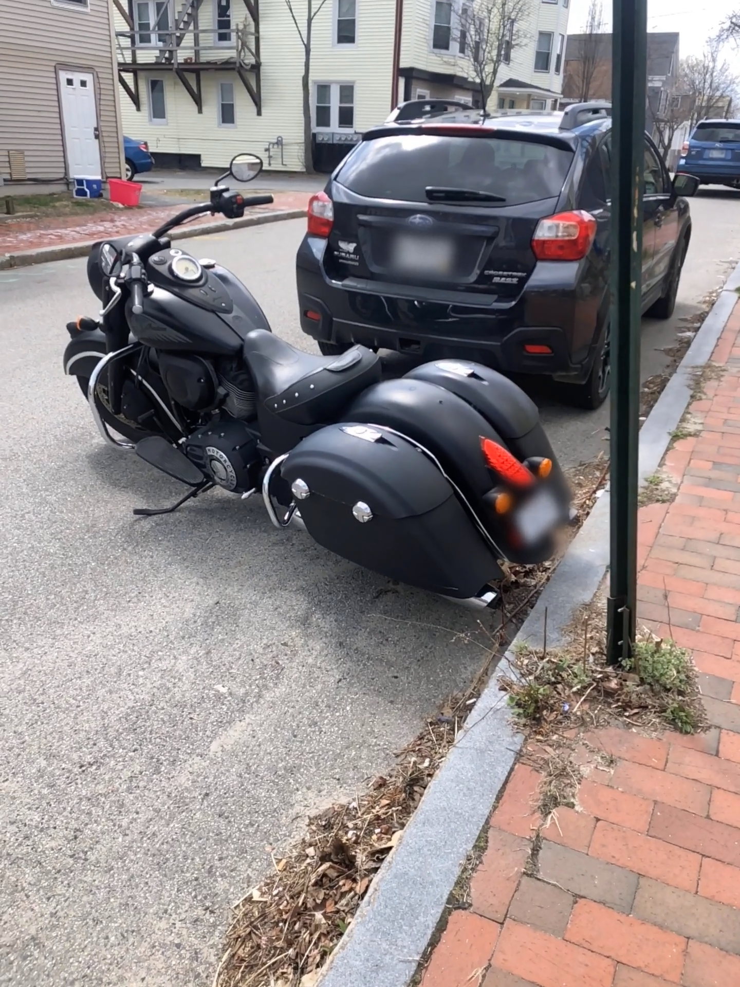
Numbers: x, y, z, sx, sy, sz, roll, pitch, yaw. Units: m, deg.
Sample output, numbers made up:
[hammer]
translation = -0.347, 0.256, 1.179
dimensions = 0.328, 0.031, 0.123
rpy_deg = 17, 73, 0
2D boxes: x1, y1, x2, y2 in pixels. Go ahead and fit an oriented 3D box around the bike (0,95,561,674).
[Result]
[bike]
translation = -0.305, -0.409, 2.469
dimensions = 1.526, 1.141, 0.548
rpy_deg = 20, 28, 22
